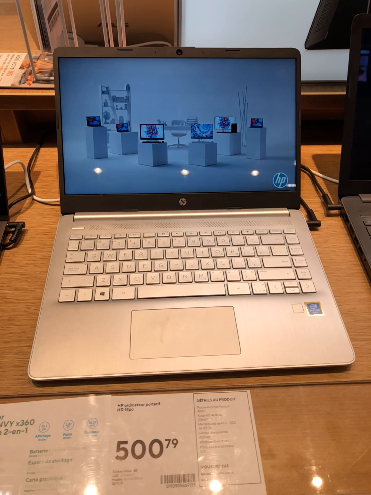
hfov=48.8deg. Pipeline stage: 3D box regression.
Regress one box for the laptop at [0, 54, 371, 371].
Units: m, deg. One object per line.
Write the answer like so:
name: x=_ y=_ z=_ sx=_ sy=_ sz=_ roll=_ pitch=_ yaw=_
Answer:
laptop: x=0.002 y=-0.064 z=0.473 sx=0.307 sy=0.167 sz=0.347 roll=-2 pitch=46 yaw=-1
